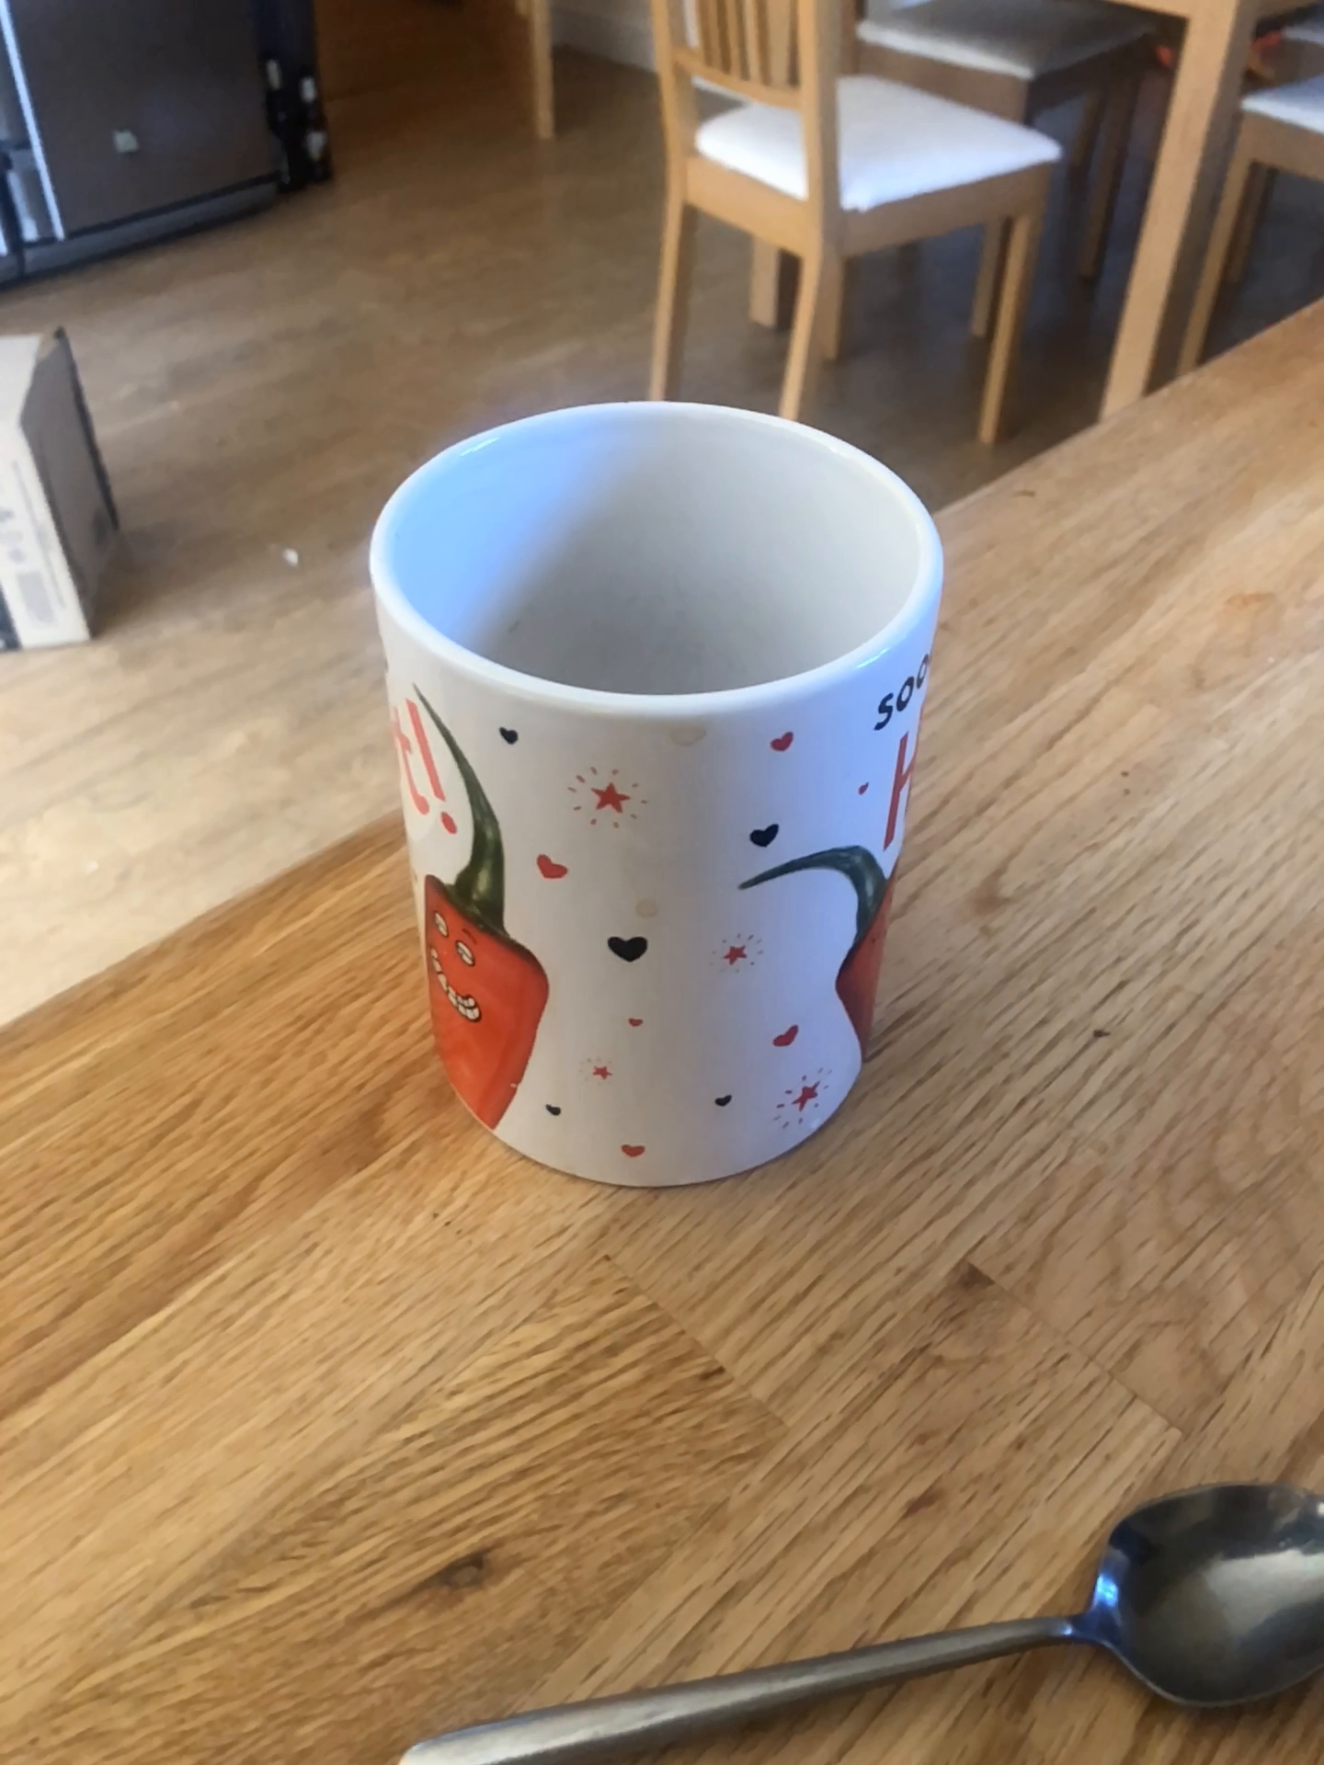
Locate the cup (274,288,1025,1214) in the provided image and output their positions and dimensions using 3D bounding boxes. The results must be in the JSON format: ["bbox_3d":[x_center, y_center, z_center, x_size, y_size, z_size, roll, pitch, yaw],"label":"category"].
[{"bbox_3d":[-0.006,-0.030,0.276,0.097,0.109,0.137,-2,43,-3],"label":"cup"}]
